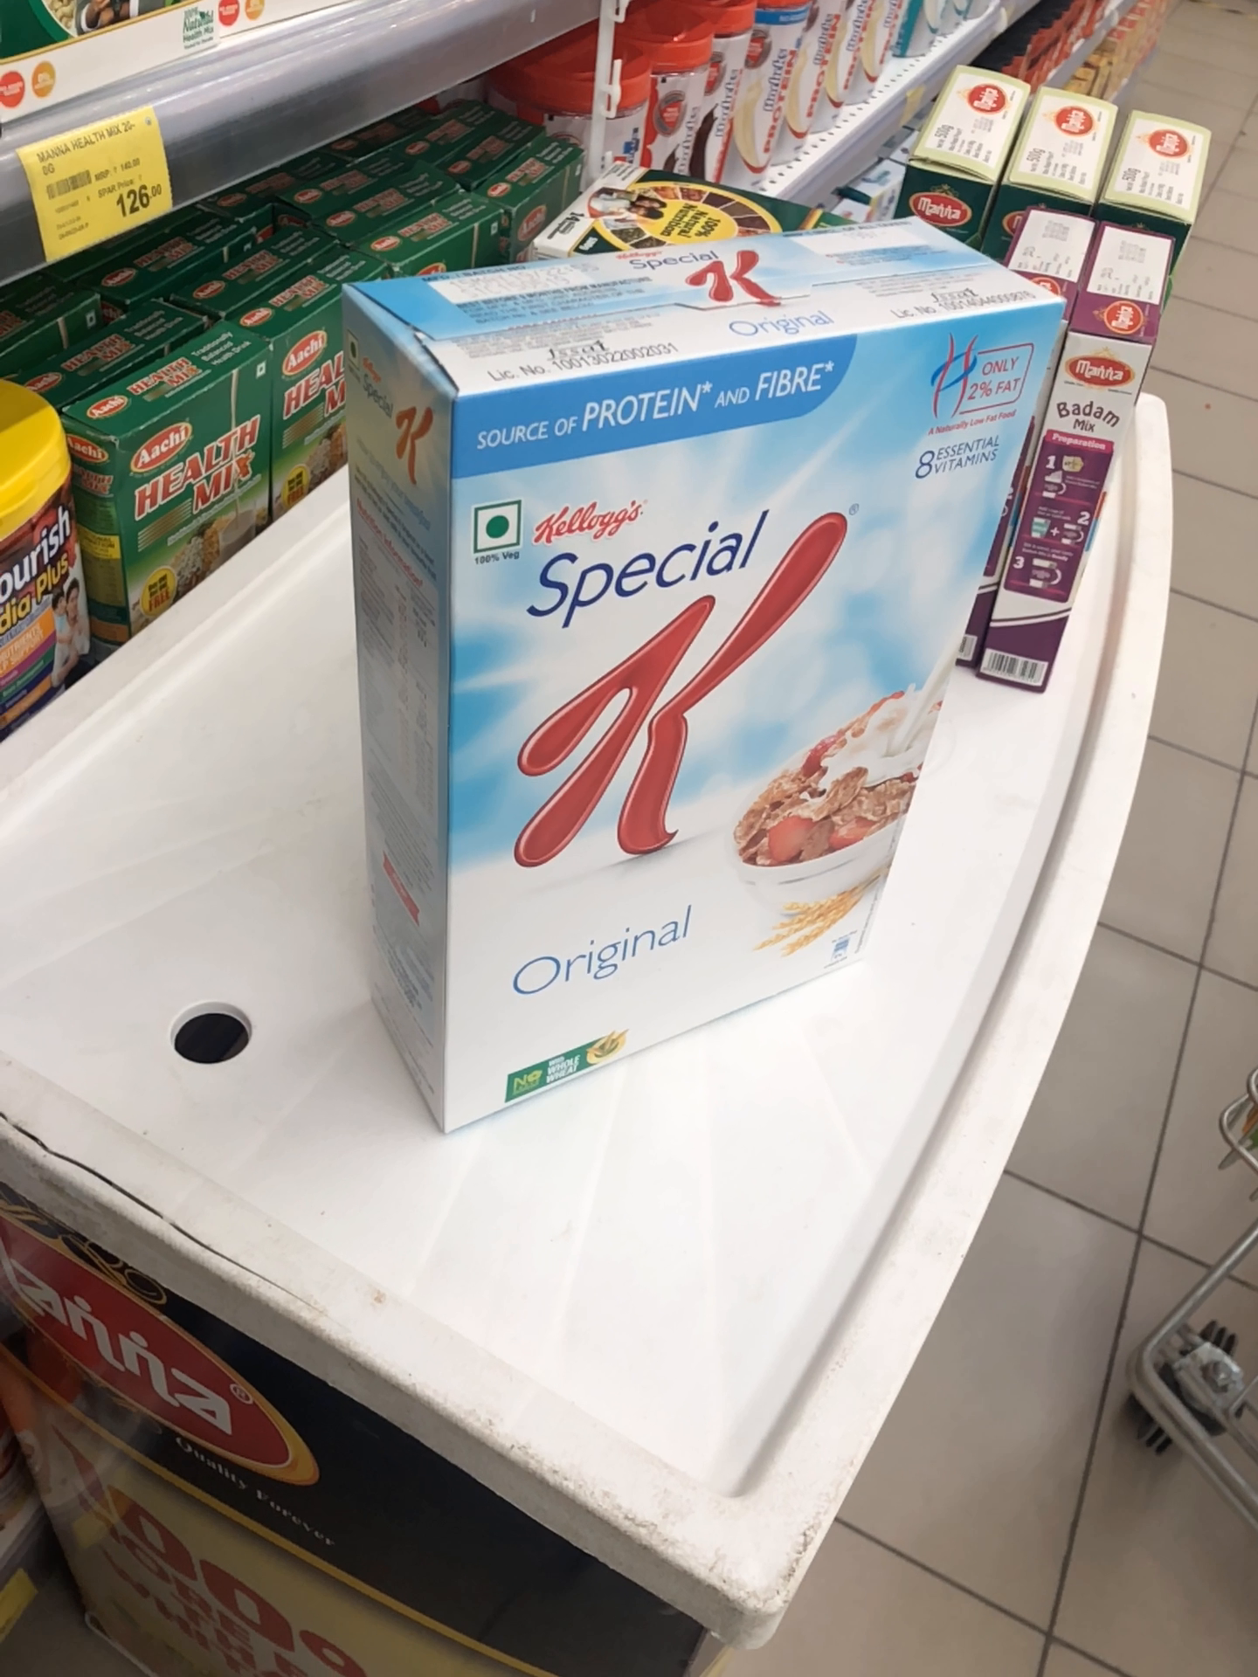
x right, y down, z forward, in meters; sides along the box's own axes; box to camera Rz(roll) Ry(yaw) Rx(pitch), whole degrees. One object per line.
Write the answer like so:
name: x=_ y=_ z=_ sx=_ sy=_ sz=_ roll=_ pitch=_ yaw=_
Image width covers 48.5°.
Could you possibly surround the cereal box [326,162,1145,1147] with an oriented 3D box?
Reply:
cereal box: x=0.019 y=-0.047 z=0.418 sx=0.190 sy=0.259 sz=0.070 roll=-19 pitch=48 yaw=-26
